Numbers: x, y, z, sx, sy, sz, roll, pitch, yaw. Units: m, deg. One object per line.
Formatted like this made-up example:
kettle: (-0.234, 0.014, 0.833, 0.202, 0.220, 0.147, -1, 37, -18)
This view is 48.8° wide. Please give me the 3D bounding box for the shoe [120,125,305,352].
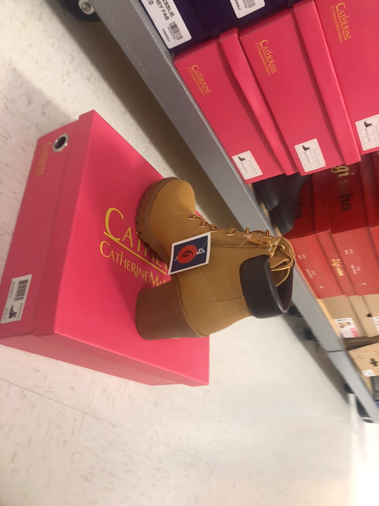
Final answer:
shoe: (0.030, -0.012, 0.483, 0.085, 0.169, 0.217, 44, 42, -47)
